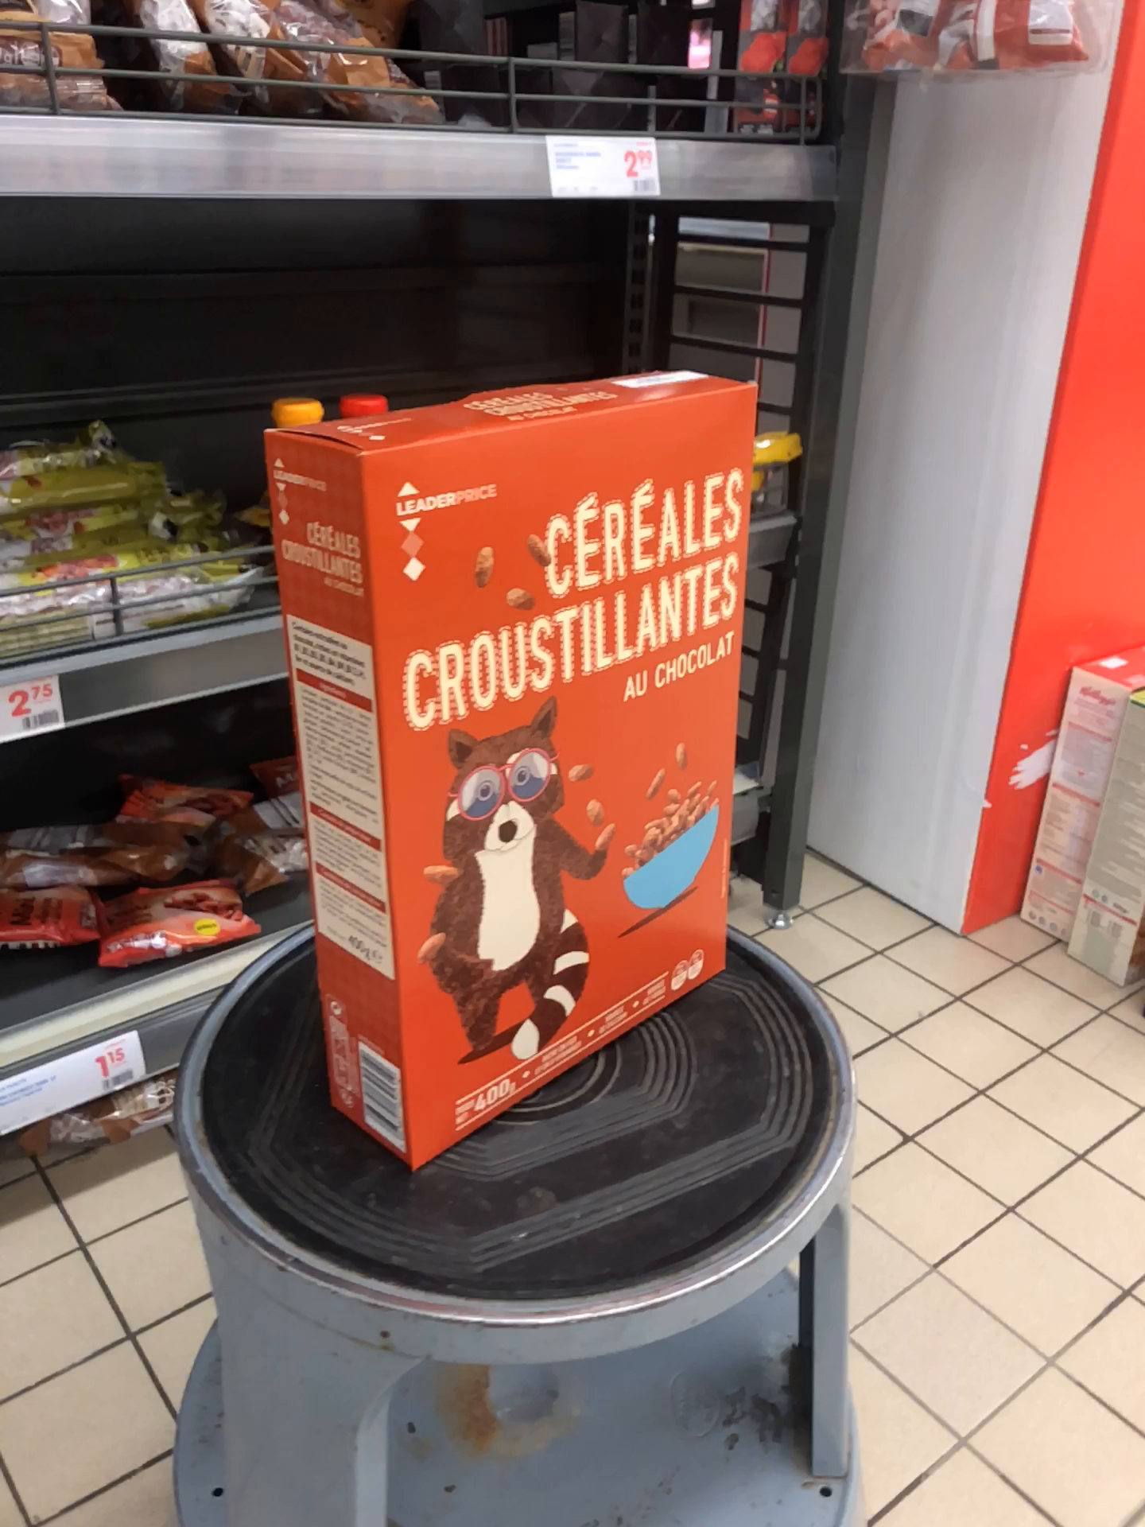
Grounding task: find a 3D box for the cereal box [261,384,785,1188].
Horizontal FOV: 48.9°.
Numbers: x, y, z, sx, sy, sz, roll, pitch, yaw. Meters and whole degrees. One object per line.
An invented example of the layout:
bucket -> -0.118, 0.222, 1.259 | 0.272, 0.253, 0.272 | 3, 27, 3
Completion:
cereal box -> -0.010, 0.000, 0.485 | 0.060, 0.259, 0.191 | 23, 32, 39
